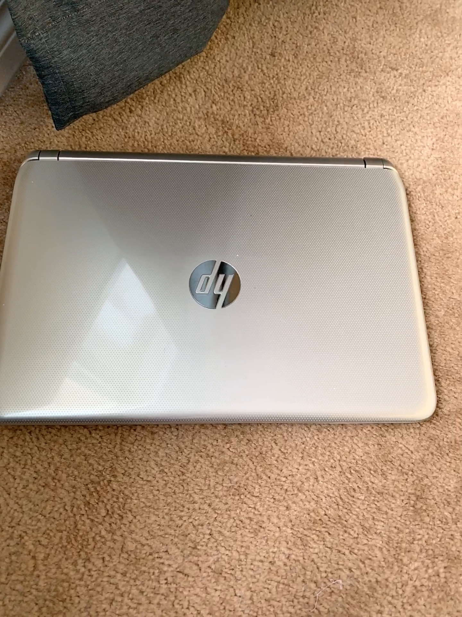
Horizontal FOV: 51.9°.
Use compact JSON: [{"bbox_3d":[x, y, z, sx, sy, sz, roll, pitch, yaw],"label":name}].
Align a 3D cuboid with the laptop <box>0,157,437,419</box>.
[{"bbox_3d":[-0.013,-0.026,0.386,0.328,0.002,0.223,1,69,-2],"label":"laptop"}]
